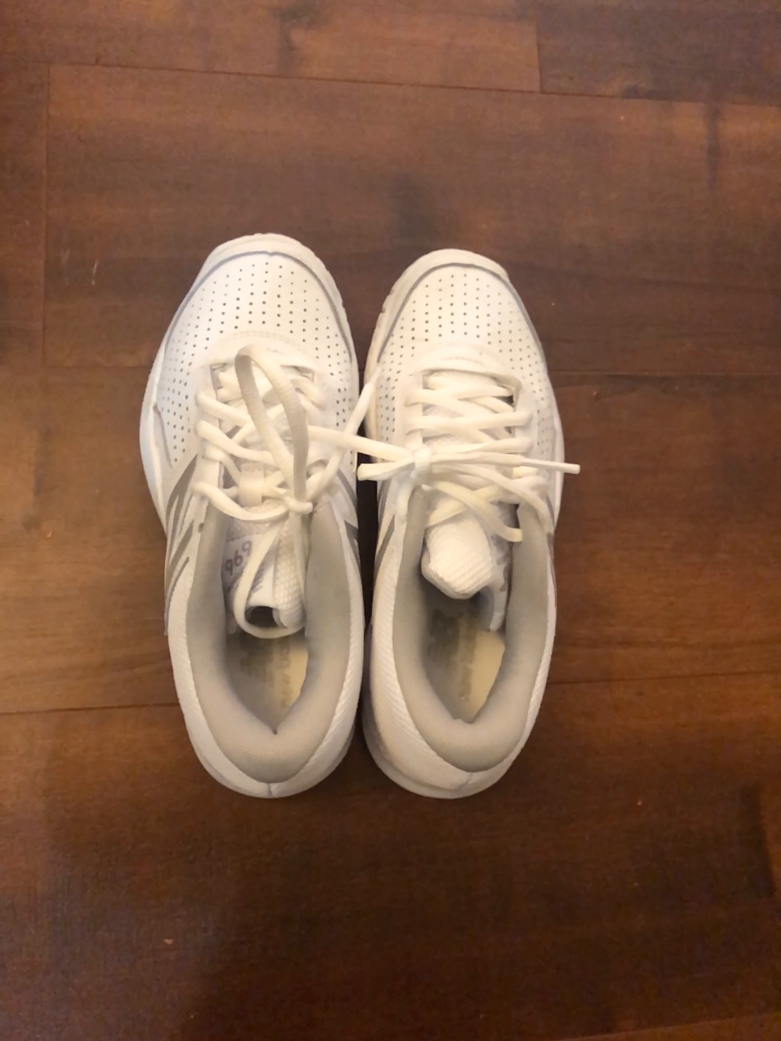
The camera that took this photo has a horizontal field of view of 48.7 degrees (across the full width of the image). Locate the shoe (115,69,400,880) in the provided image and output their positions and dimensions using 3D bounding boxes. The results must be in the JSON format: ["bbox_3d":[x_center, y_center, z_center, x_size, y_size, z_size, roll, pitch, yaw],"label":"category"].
[{"bbox_3d":[-0.060,-0.018,0.394,0.100,0.130,0.310,0,81,-9],"label":"shoe"}]

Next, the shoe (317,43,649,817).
[{"bbox_3d":[0.032,-0.031,0.425,0.120,0.170,0.310,3,80,-6],"label":"shoe"}]
